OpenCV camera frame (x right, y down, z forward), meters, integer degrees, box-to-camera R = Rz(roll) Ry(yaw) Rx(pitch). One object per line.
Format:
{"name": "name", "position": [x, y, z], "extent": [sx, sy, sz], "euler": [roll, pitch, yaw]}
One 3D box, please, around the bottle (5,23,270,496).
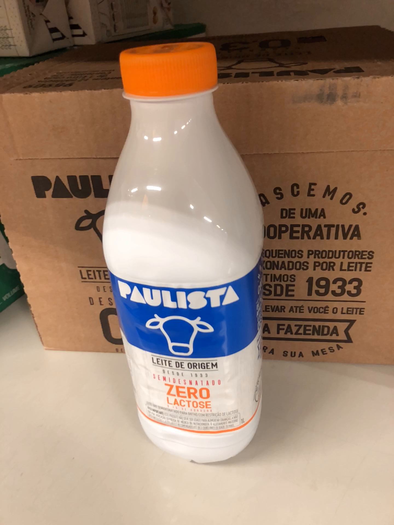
{"name": "bottle", "position": [-0.007, 0.012, 0.228], "extent": [0.080, 0.228, 0.081], "euler": [-4, 32, 2]}
